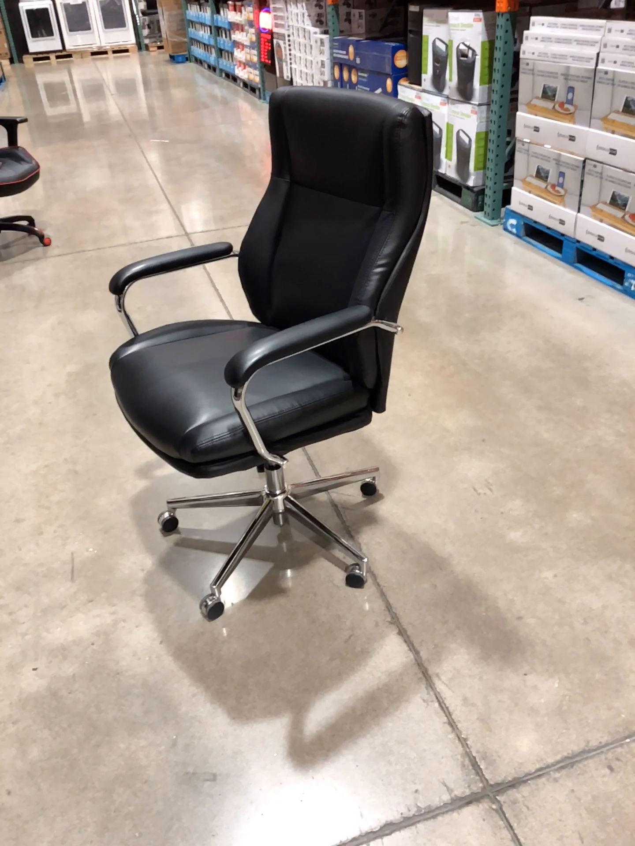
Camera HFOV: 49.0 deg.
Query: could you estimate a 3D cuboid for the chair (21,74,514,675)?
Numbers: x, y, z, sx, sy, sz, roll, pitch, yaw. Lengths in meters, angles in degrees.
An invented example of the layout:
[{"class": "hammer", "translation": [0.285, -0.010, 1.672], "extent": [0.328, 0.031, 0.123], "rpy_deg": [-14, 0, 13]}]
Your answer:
[{"class": "chair", "translation": [-0.106, -0.167, 1.623], "extent": [0.700, 1.045, 0.713], "rpy_deg": [-21, 36, -24]}]
